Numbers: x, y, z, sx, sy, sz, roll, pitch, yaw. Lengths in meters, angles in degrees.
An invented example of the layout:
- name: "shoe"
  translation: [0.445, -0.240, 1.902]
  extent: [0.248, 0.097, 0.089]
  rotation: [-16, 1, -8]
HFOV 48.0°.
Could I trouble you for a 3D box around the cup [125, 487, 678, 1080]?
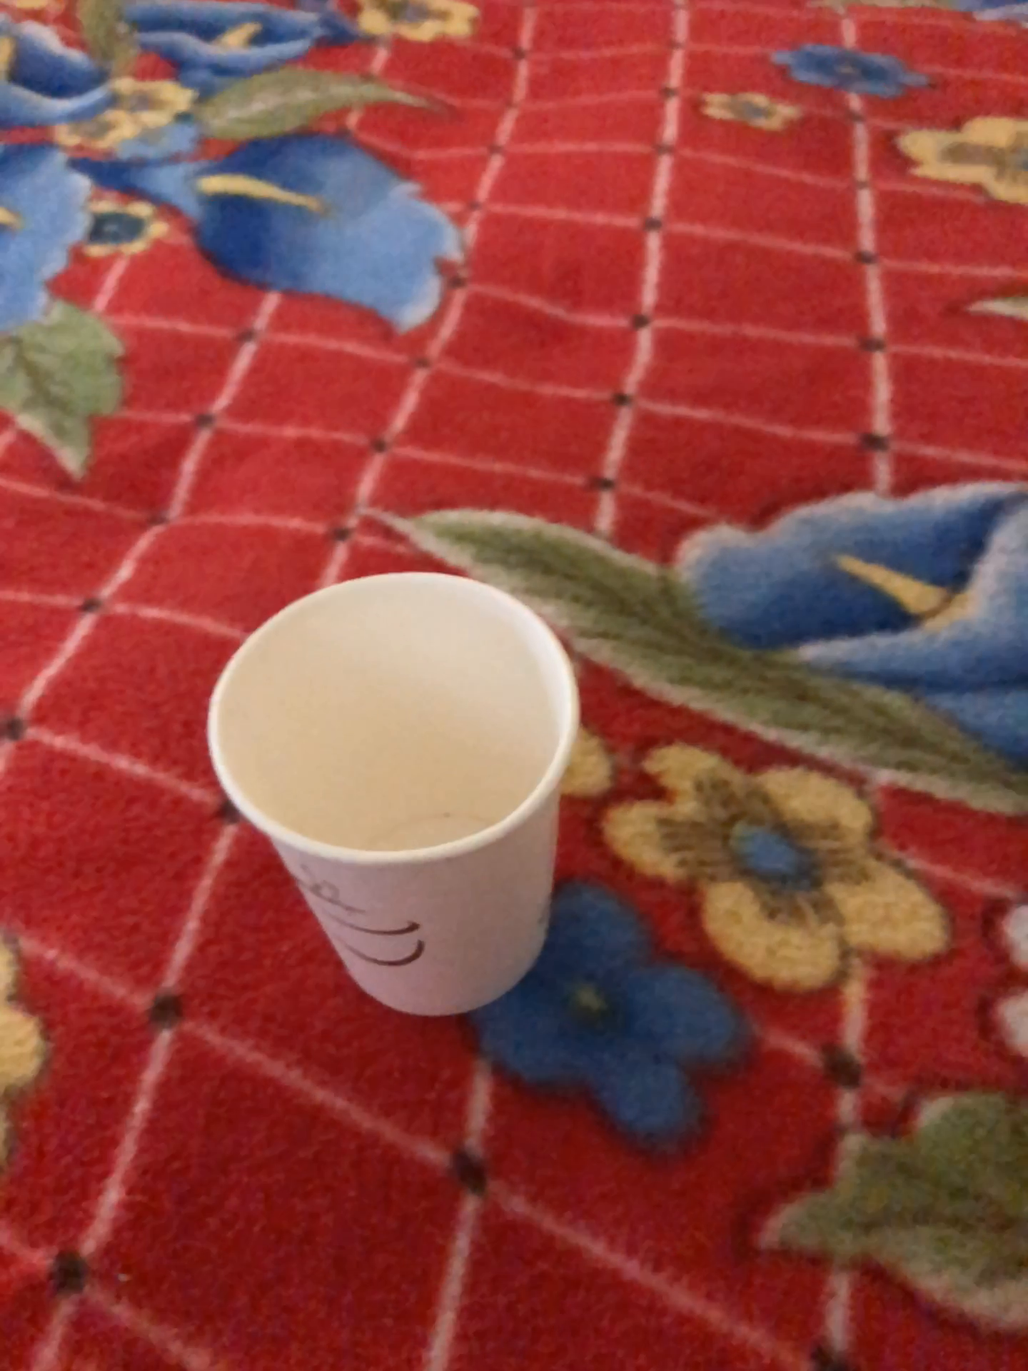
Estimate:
- name: "cup"
  translation: [-0.020, 0.024, 0.284]
  extent: [0.090, 0.090, 0.080]
  rotation: [26, 59, 24]
